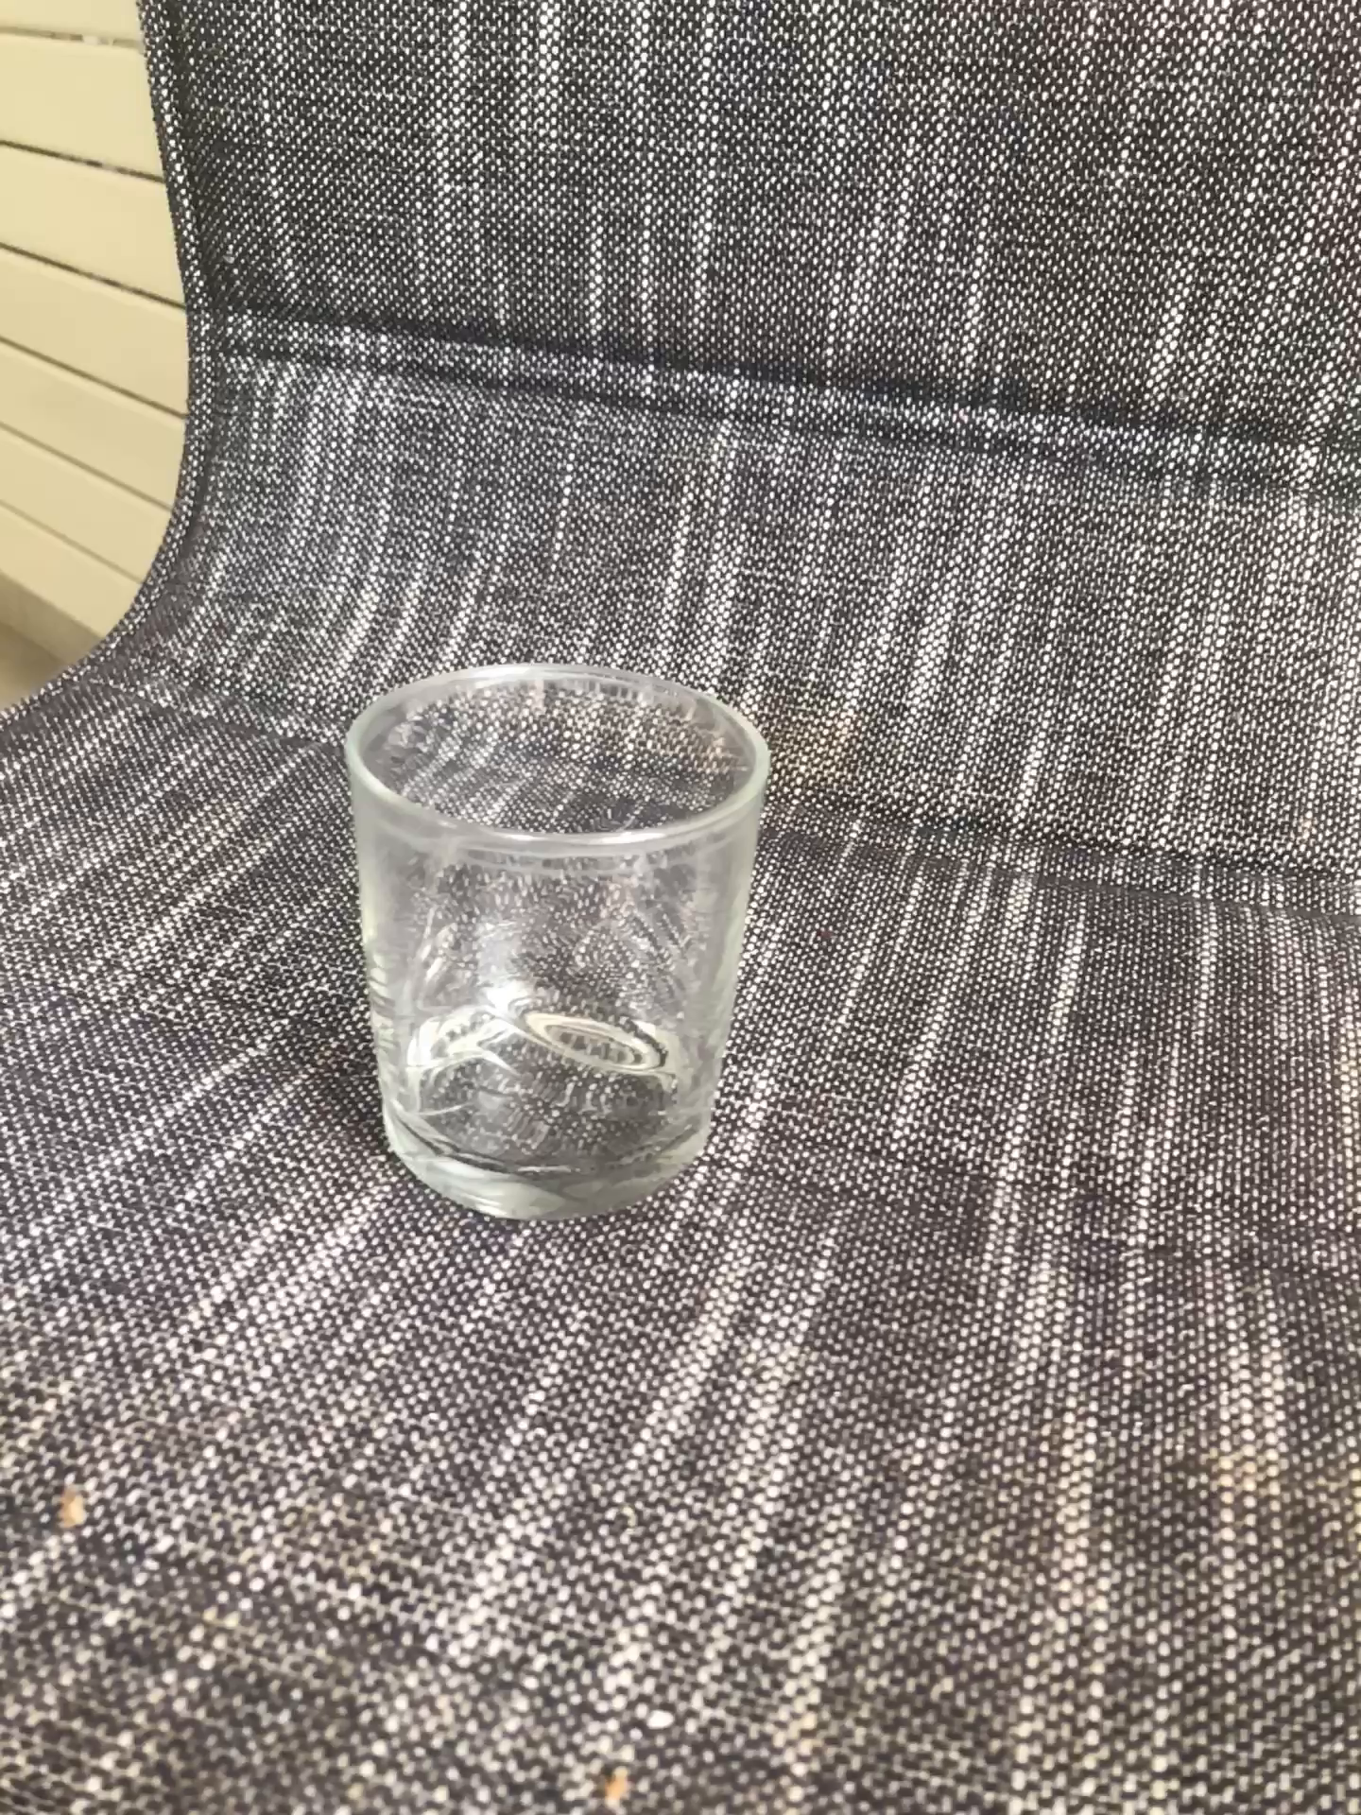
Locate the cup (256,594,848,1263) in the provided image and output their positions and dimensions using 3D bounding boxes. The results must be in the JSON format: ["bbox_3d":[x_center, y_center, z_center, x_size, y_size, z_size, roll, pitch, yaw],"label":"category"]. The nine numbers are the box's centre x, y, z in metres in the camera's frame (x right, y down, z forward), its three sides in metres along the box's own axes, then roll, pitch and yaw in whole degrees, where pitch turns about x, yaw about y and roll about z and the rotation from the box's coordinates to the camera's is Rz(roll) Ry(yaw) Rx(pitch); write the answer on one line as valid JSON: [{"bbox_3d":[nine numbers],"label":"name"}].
[{"bbox_3d":[-0.023,-0.001,0.271,0.070,0.080,0.070,2,31,-1],"label":"cup"}]
